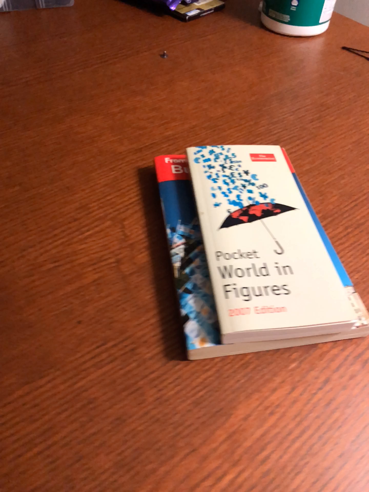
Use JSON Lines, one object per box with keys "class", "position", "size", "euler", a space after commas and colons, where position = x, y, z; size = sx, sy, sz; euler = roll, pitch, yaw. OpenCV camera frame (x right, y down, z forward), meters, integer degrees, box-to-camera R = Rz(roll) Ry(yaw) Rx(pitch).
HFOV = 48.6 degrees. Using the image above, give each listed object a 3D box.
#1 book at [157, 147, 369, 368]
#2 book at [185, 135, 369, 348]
{"class": "book", "position": [0.058, -0.009, 0.347], "size": [0.140, 0.020, 0.211], "euler": [-5, 50, -8]}
{"class": "book", "position": [0.062, -0.020, 0.324], "size": [0.100, 0.020, 0.201], "euler": [-3, 50, -7]}
